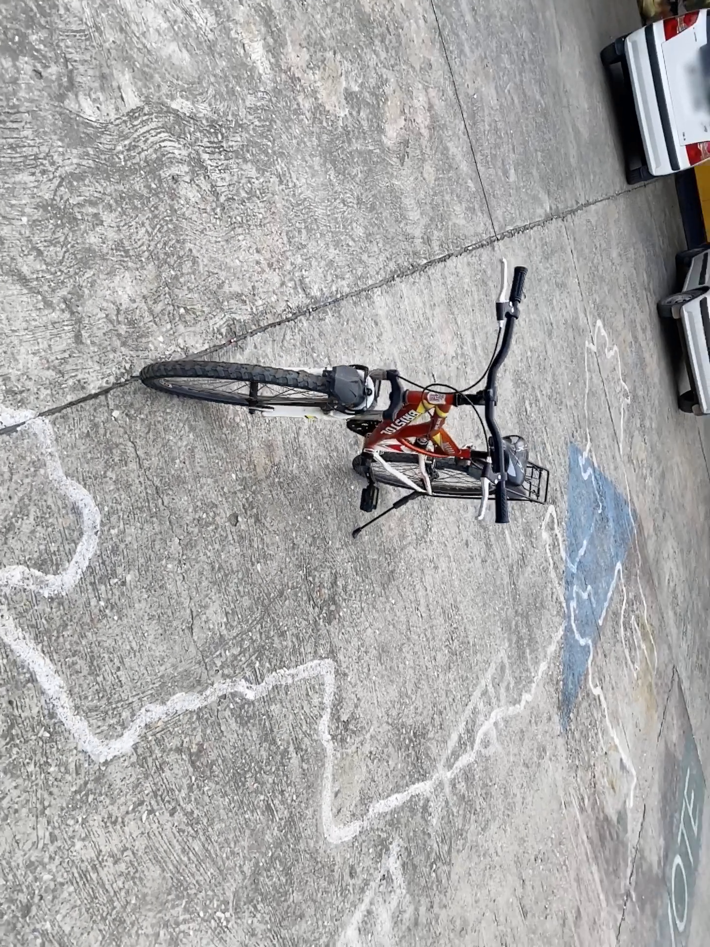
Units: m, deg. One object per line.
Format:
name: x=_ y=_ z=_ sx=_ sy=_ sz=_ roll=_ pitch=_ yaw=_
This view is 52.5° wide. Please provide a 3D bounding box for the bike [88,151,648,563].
bike: x=0.169 y=-0.125 z=2.205 sx=1.521 sy=0.976 sz=0.584 roll=19 pitch=67 yaw=-53
